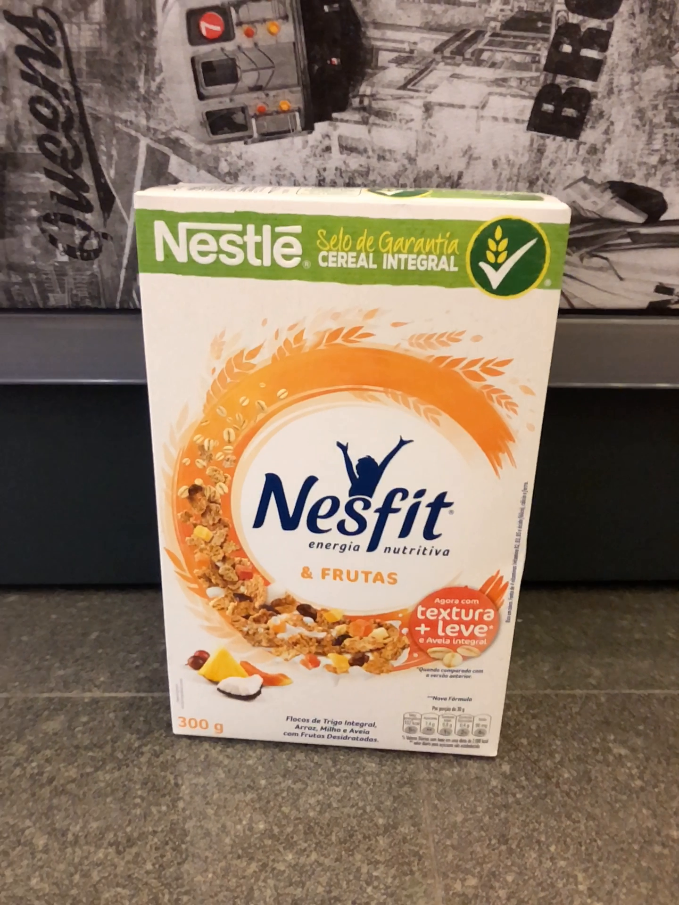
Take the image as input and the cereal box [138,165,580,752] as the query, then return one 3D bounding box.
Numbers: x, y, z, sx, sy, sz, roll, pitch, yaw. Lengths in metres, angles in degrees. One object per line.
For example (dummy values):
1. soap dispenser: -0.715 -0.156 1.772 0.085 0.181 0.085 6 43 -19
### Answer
1. cereal box: 0.006 0.007 0.336 0.150 0.248 0.070 2 23 3
